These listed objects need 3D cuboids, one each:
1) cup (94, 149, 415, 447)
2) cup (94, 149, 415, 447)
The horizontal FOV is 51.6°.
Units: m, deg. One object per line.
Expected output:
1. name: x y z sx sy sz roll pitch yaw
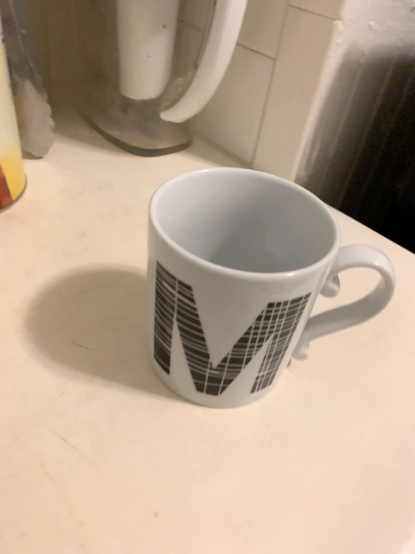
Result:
1. cup: 0.017 0.011 0.239 0.130 0.109 0.101 8 40 -2
2. cup: 0.017 0.011 0.239 0.130 0.109 0.101 8 40 -2
